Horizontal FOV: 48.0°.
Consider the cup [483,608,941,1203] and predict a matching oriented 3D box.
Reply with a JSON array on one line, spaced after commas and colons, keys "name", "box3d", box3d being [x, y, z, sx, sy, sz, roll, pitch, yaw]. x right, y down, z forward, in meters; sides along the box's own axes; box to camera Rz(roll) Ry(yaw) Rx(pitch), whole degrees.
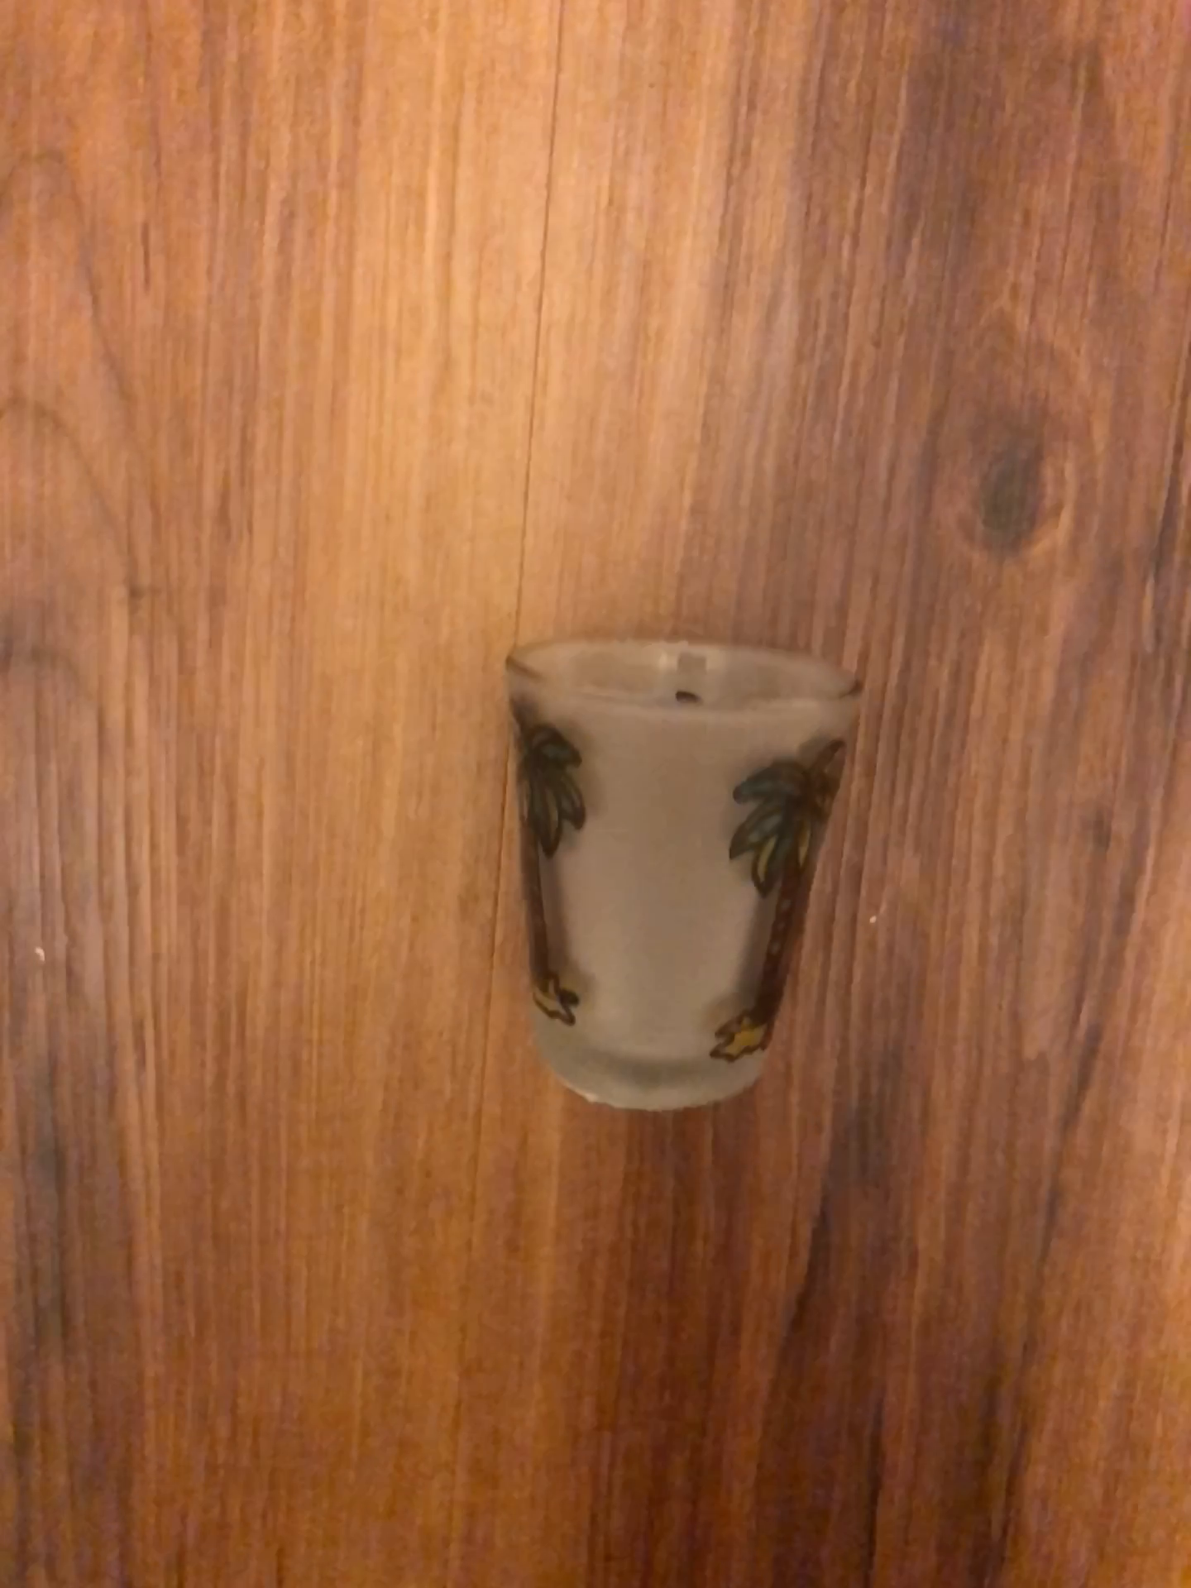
[{"name": "cup", "box3d": [0.014, 0.012, 0.187, 0.050, 0.045, 0.070, 5, 100, 1]}]
